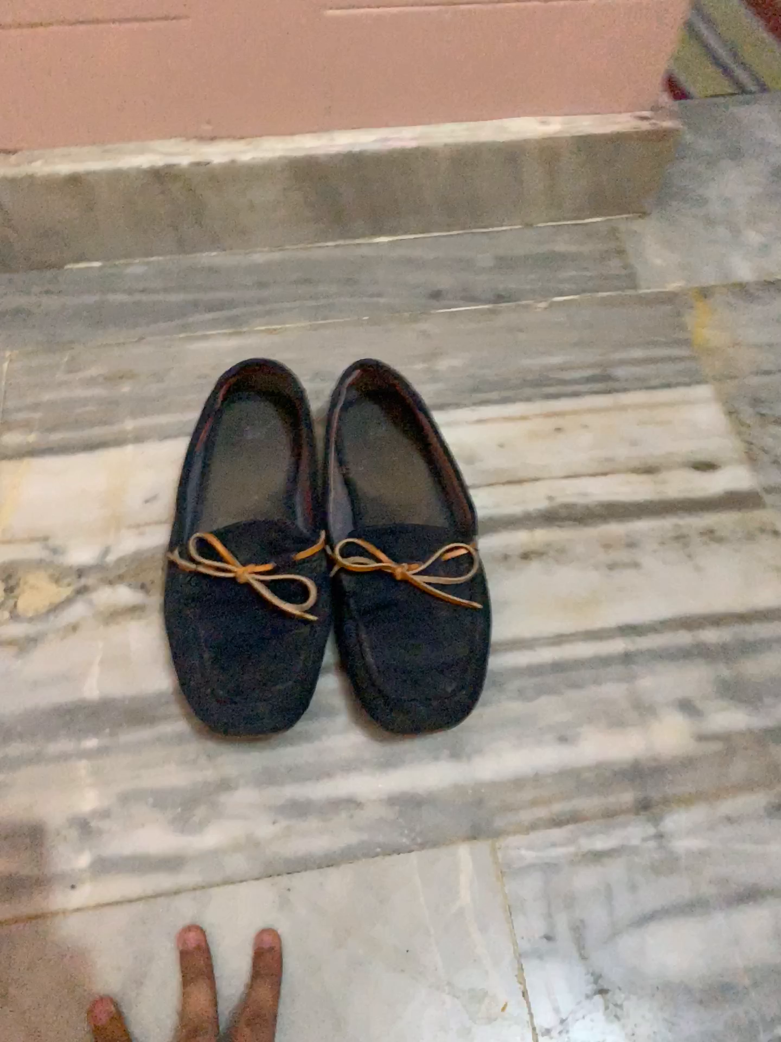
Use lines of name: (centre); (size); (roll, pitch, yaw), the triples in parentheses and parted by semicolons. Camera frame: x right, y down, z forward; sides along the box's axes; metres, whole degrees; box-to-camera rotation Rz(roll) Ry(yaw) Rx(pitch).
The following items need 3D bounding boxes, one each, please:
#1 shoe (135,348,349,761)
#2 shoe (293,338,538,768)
shoe: (-0.097, 0.011, 0.555); (0.120, 0.070, 0.280); (-3, 60, -5)
shoe: (0.005, 0.009, 0.575); (0.120, 0.070, 0.300); (-6, 60, -6)
